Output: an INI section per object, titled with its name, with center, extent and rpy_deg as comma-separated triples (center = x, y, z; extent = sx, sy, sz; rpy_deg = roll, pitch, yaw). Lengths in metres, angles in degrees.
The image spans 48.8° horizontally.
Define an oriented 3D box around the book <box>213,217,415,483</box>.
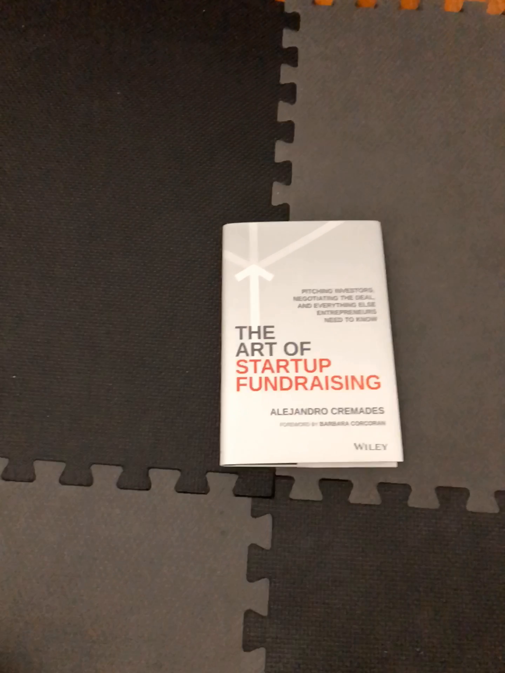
[book]
center = 0.053, 0.007, 0.522
extent = 0.170, 0.030, 0.250
rpy_deg = 1, 72, 0
